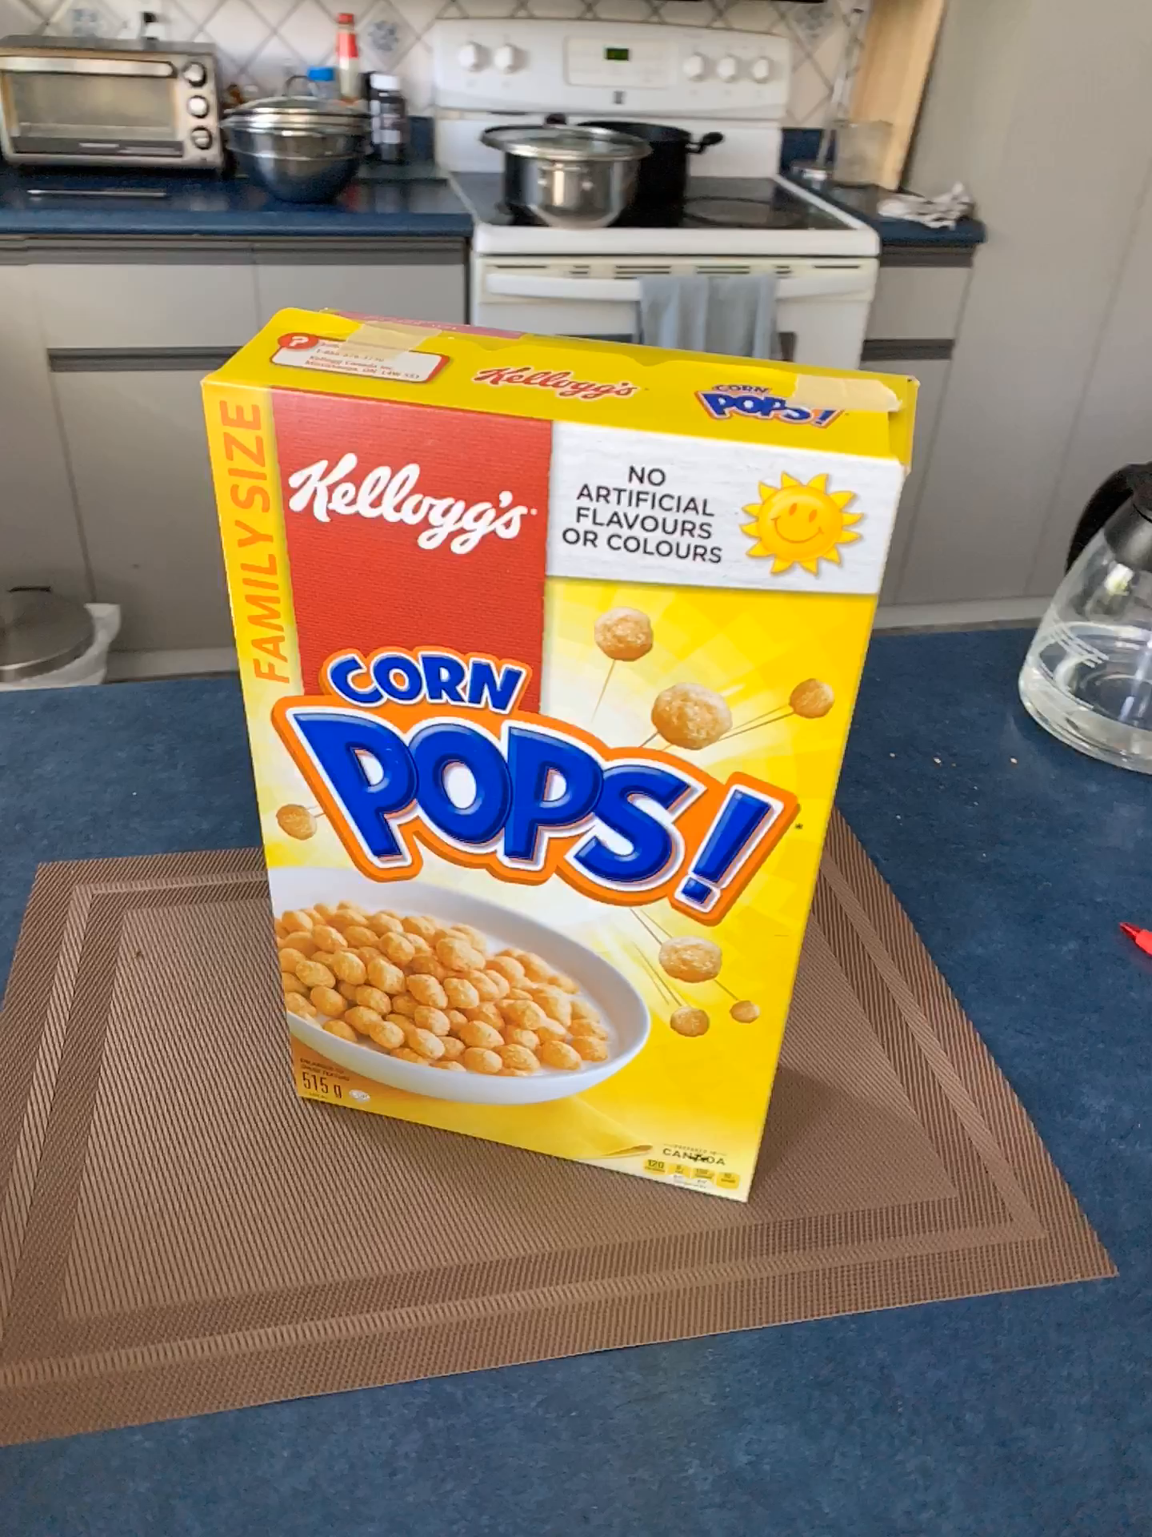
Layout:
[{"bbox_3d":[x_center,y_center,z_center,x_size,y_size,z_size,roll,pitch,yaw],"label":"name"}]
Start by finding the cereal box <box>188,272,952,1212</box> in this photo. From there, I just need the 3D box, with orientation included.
[{"bbox_3d":[-0.005,0.004,0.440,0.210,0.317,0.091,10,35,10],"label":"cereal box"}]
